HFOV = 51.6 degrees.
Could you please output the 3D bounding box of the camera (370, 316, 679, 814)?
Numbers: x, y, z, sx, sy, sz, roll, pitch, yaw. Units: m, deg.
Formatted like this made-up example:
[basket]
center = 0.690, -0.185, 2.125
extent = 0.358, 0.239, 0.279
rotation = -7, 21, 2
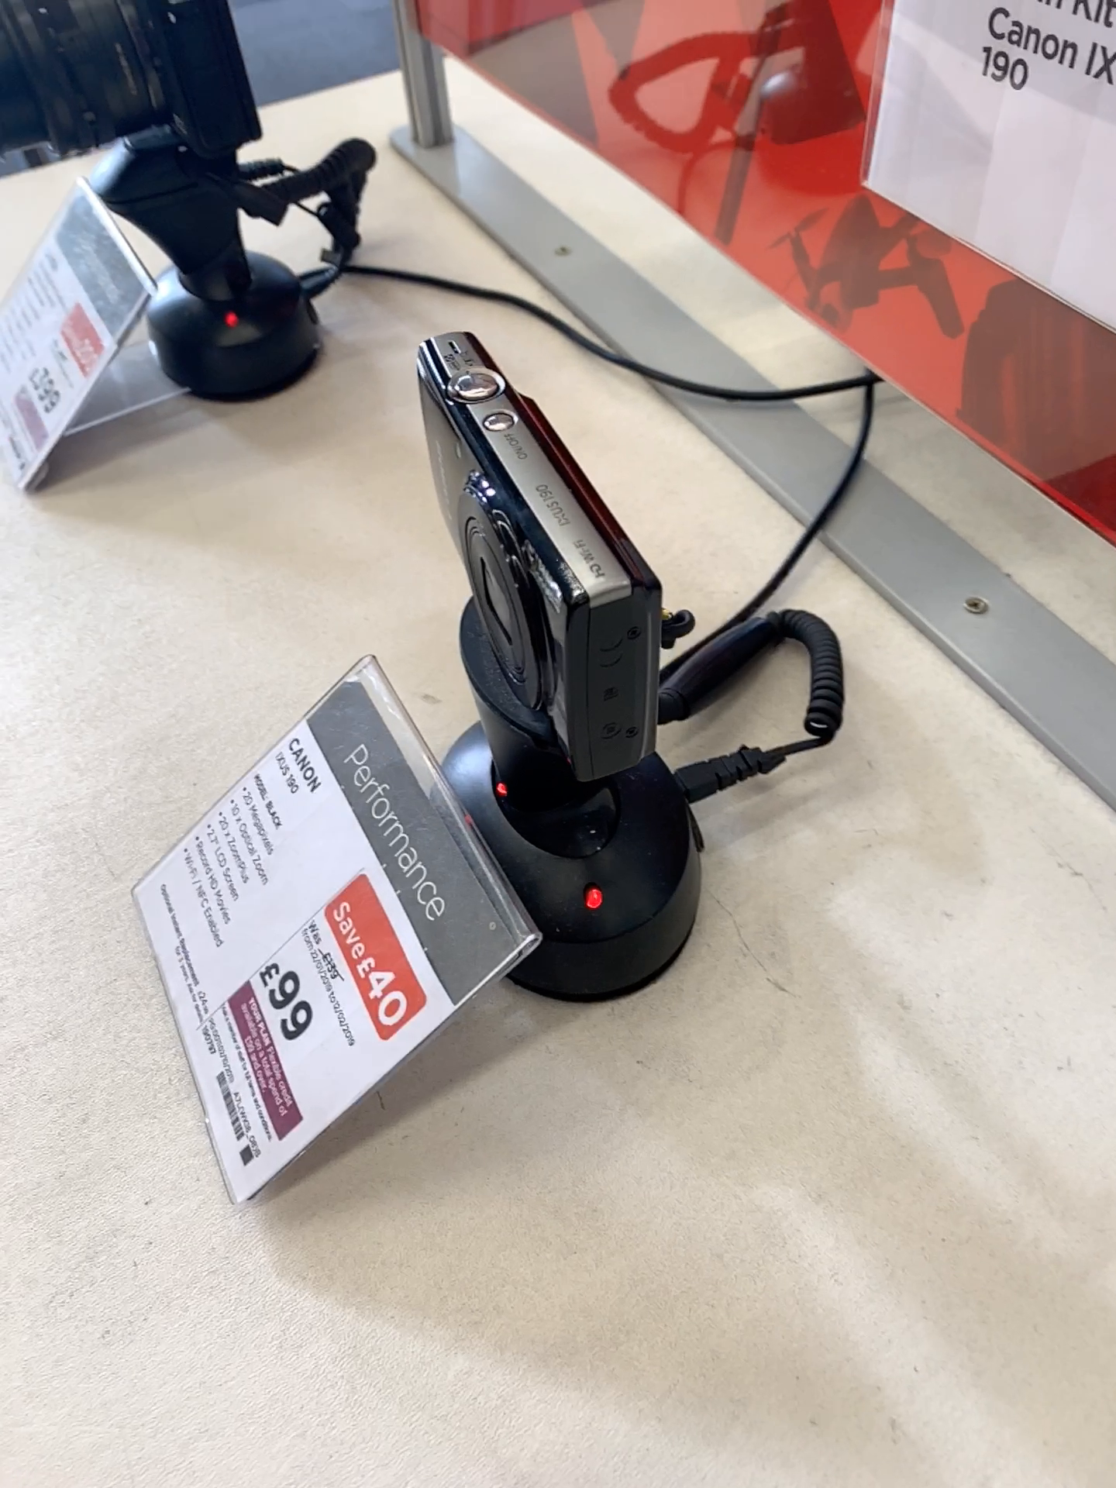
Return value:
[camera]
center = -0.009, -0.042, 0.248
extent = 0.030, 0.050, 0.101
rotation = -18, 51, -10
